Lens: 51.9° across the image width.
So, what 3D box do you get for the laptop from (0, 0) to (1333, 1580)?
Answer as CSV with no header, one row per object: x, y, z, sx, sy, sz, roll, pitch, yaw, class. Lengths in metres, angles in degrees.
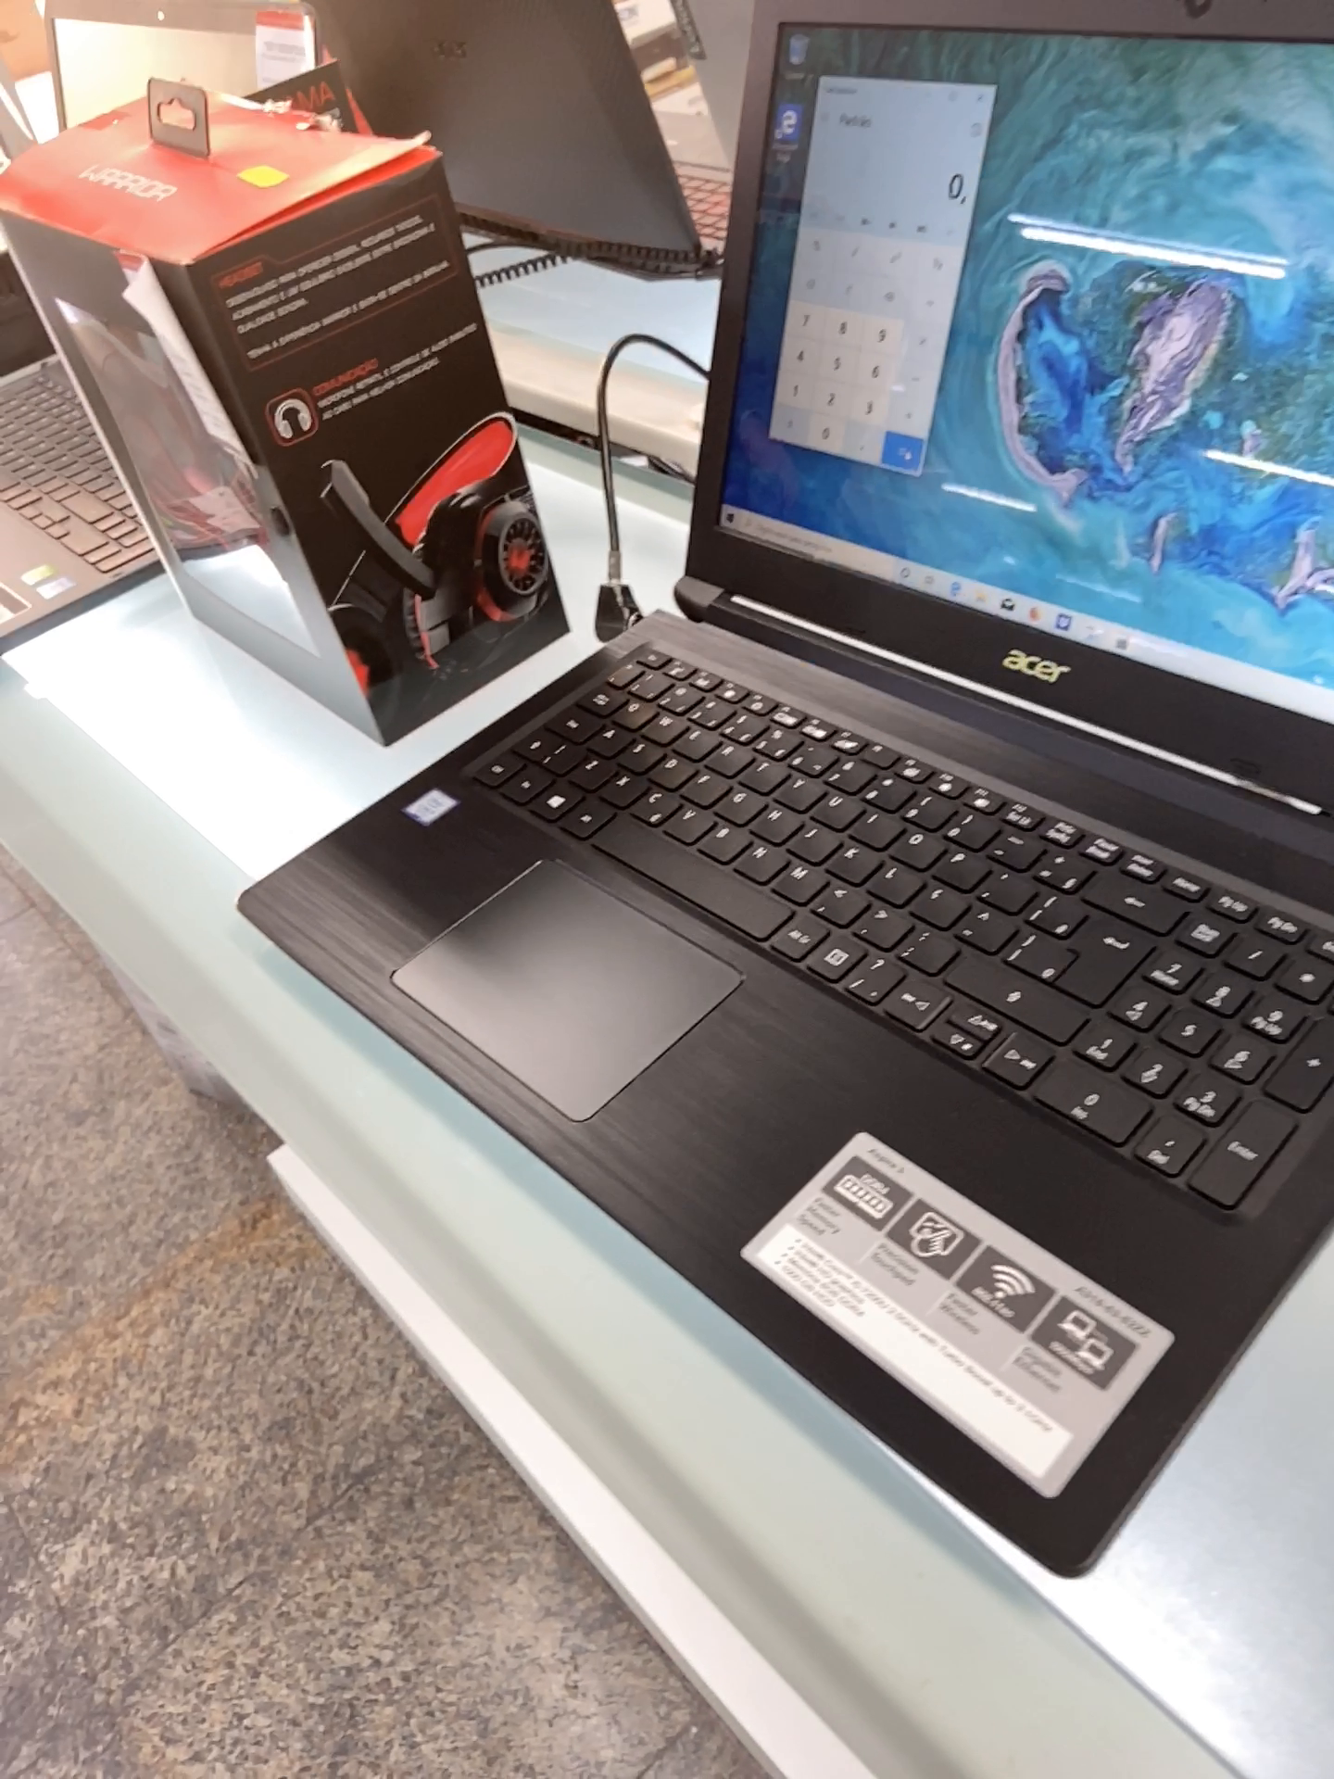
0.063,-0.104,0.417,0.353,0.227,0.376,-38,47,-25,laptop
